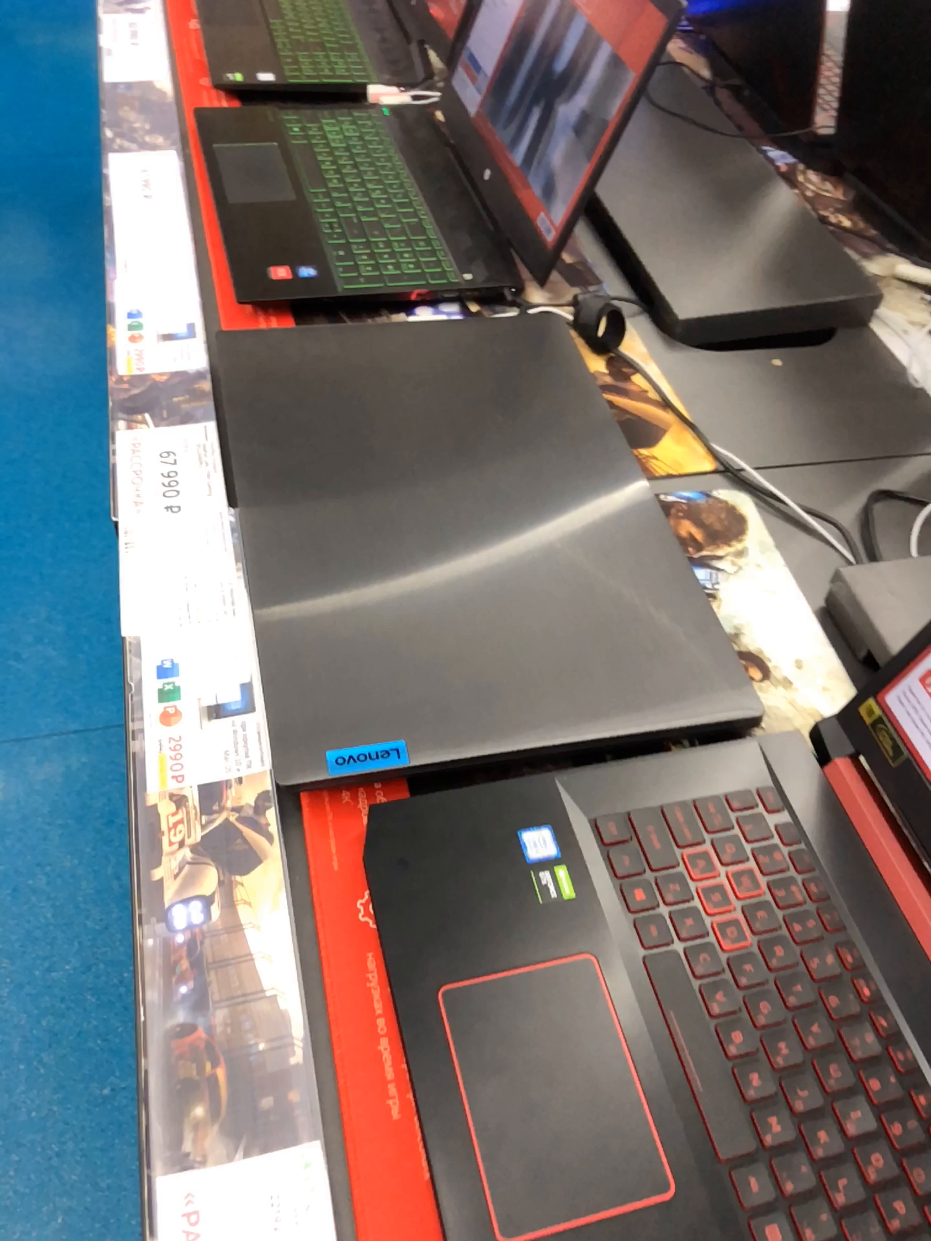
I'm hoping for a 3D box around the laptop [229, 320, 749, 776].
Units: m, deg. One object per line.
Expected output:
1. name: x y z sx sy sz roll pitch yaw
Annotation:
1. laptop: -0.008 -0.082 0.678 0.268 0.002 0.390 -6 50 -12
